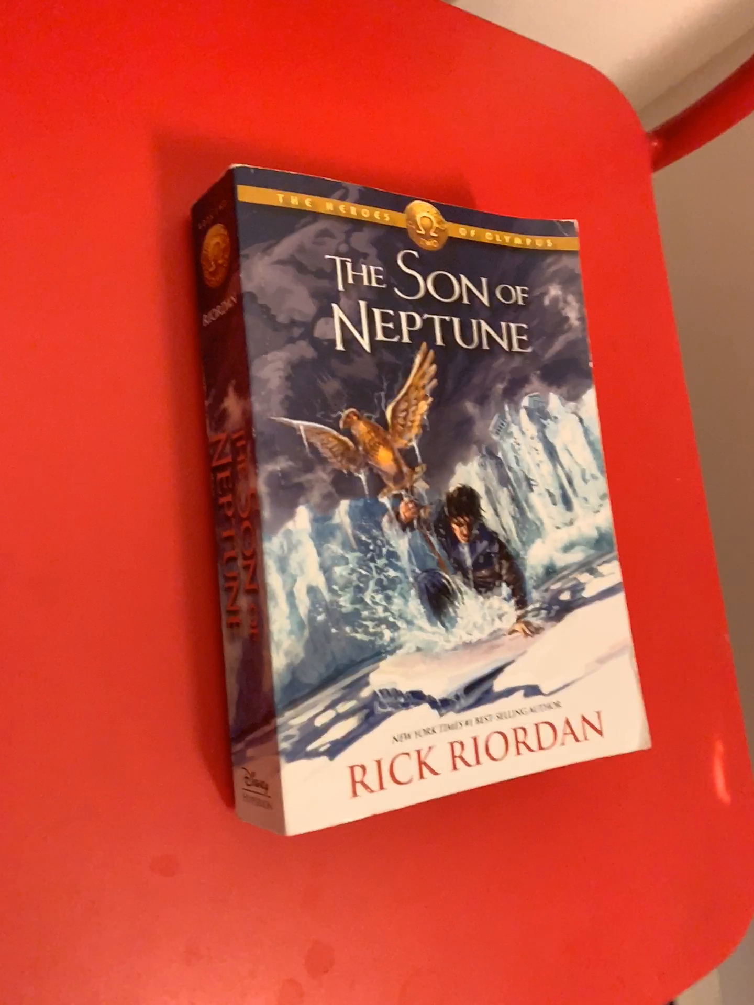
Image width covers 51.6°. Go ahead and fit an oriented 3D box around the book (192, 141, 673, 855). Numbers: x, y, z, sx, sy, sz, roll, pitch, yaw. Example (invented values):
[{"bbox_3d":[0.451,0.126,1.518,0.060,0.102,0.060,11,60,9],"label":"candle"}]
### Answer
[{"bbox_3d":[0.021,-0.005,0.257,0.142,0.040,0.188,-1,81,-32],"label":"book"}]
